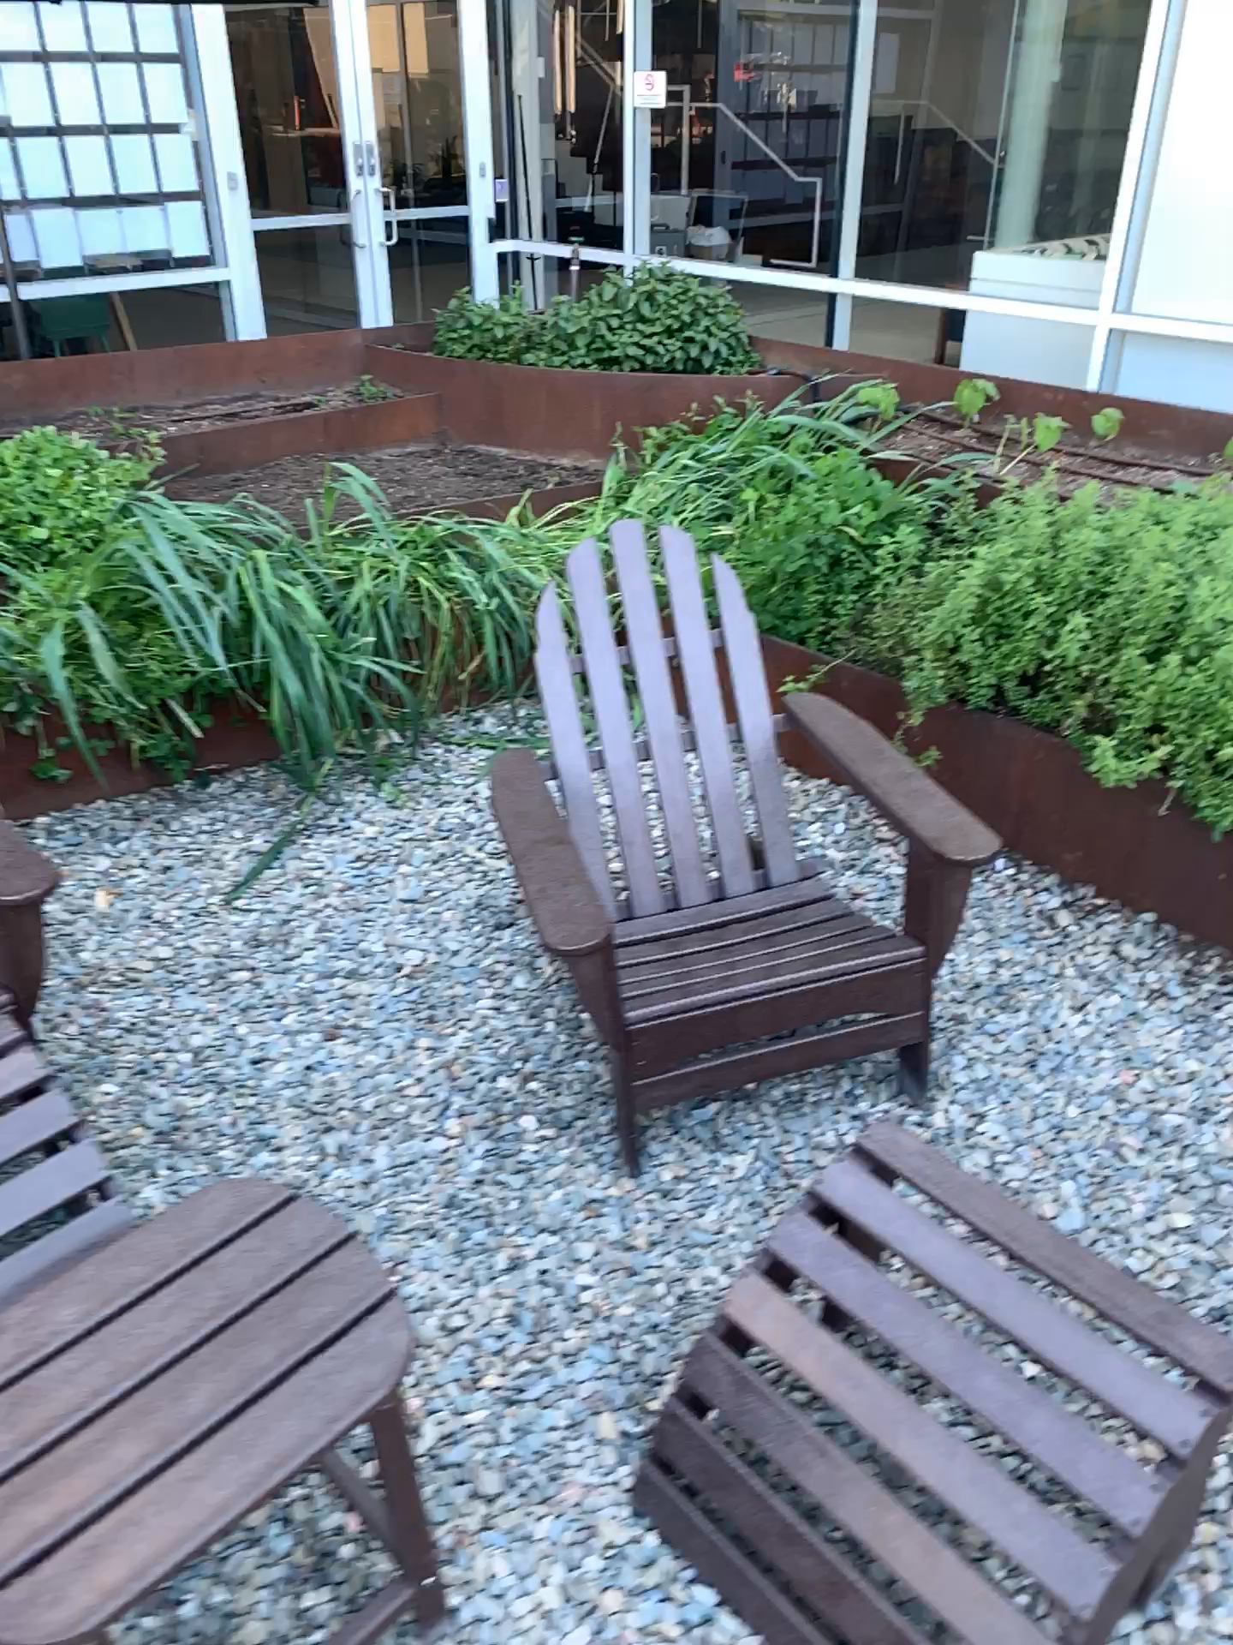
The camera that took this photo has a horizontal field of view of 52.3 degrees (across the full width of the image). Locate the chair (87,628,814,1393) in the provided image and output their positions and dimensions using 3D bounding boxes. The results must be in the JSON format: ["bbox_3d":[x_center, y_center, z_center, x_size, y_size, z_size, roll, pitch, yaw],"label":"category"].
[{"bbox_3d":[-0.259,0.295,2.414,1.000,0.995,1.005,-2,30,-4],"label":"chair"}]
